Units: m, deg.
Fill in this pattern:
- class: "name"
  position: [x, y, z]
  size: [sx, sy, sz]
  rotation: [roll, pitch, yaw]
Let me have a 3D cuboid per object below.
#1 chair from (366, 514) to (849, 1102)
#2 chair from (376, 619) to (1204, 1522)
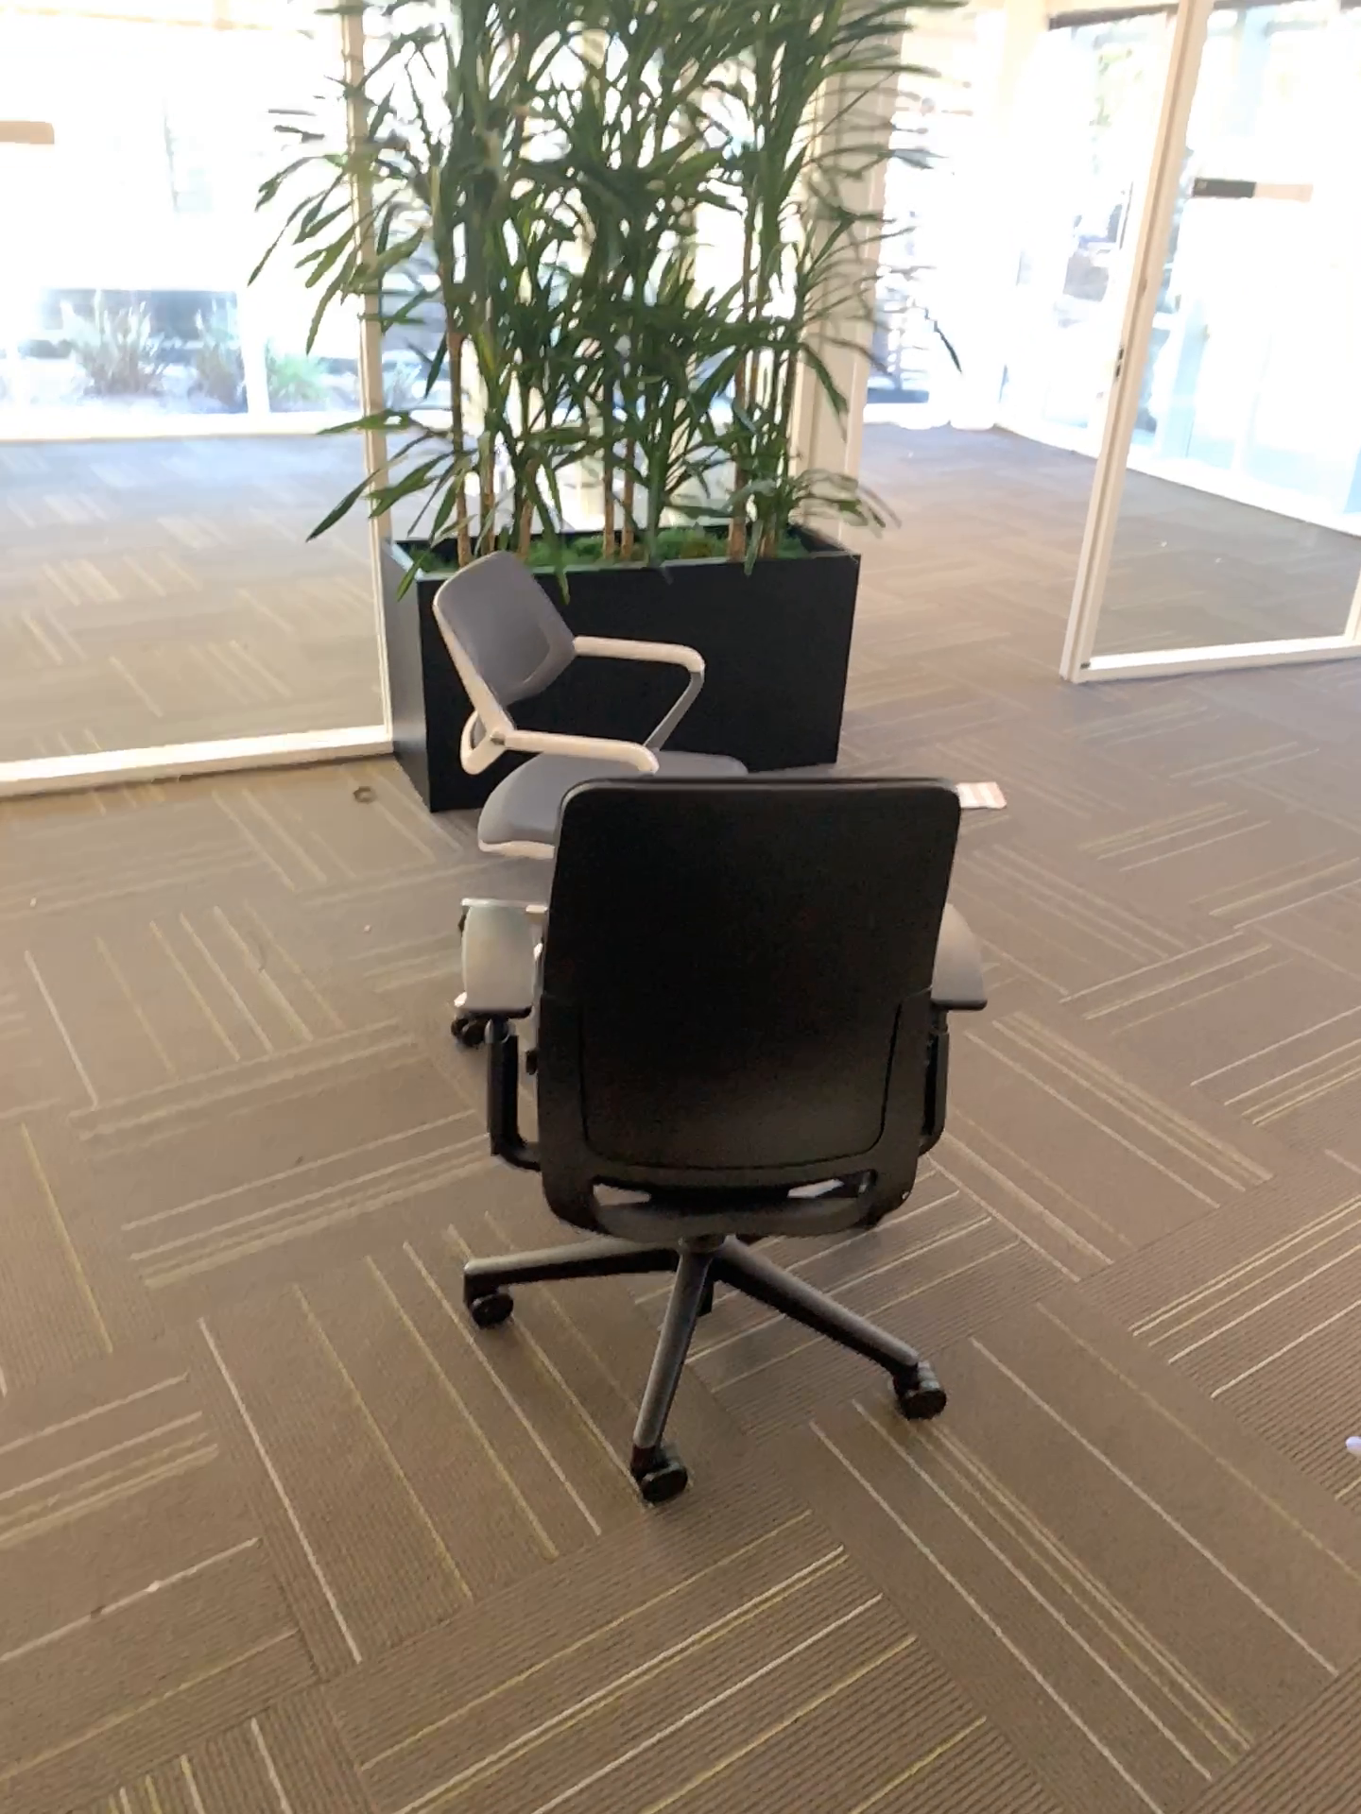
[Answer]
- class: "chair"
  position: [-0.097, -0.234, 2.669]
  size: [0.740, 0.795, 0.845]
  rotation: [5, 28, 3]
- class: "chair"
  position: [0.069, 0.177, 1.816]
  size: [0.770, 0.885, 0.745]
  rotation: [1, 28, -4]
